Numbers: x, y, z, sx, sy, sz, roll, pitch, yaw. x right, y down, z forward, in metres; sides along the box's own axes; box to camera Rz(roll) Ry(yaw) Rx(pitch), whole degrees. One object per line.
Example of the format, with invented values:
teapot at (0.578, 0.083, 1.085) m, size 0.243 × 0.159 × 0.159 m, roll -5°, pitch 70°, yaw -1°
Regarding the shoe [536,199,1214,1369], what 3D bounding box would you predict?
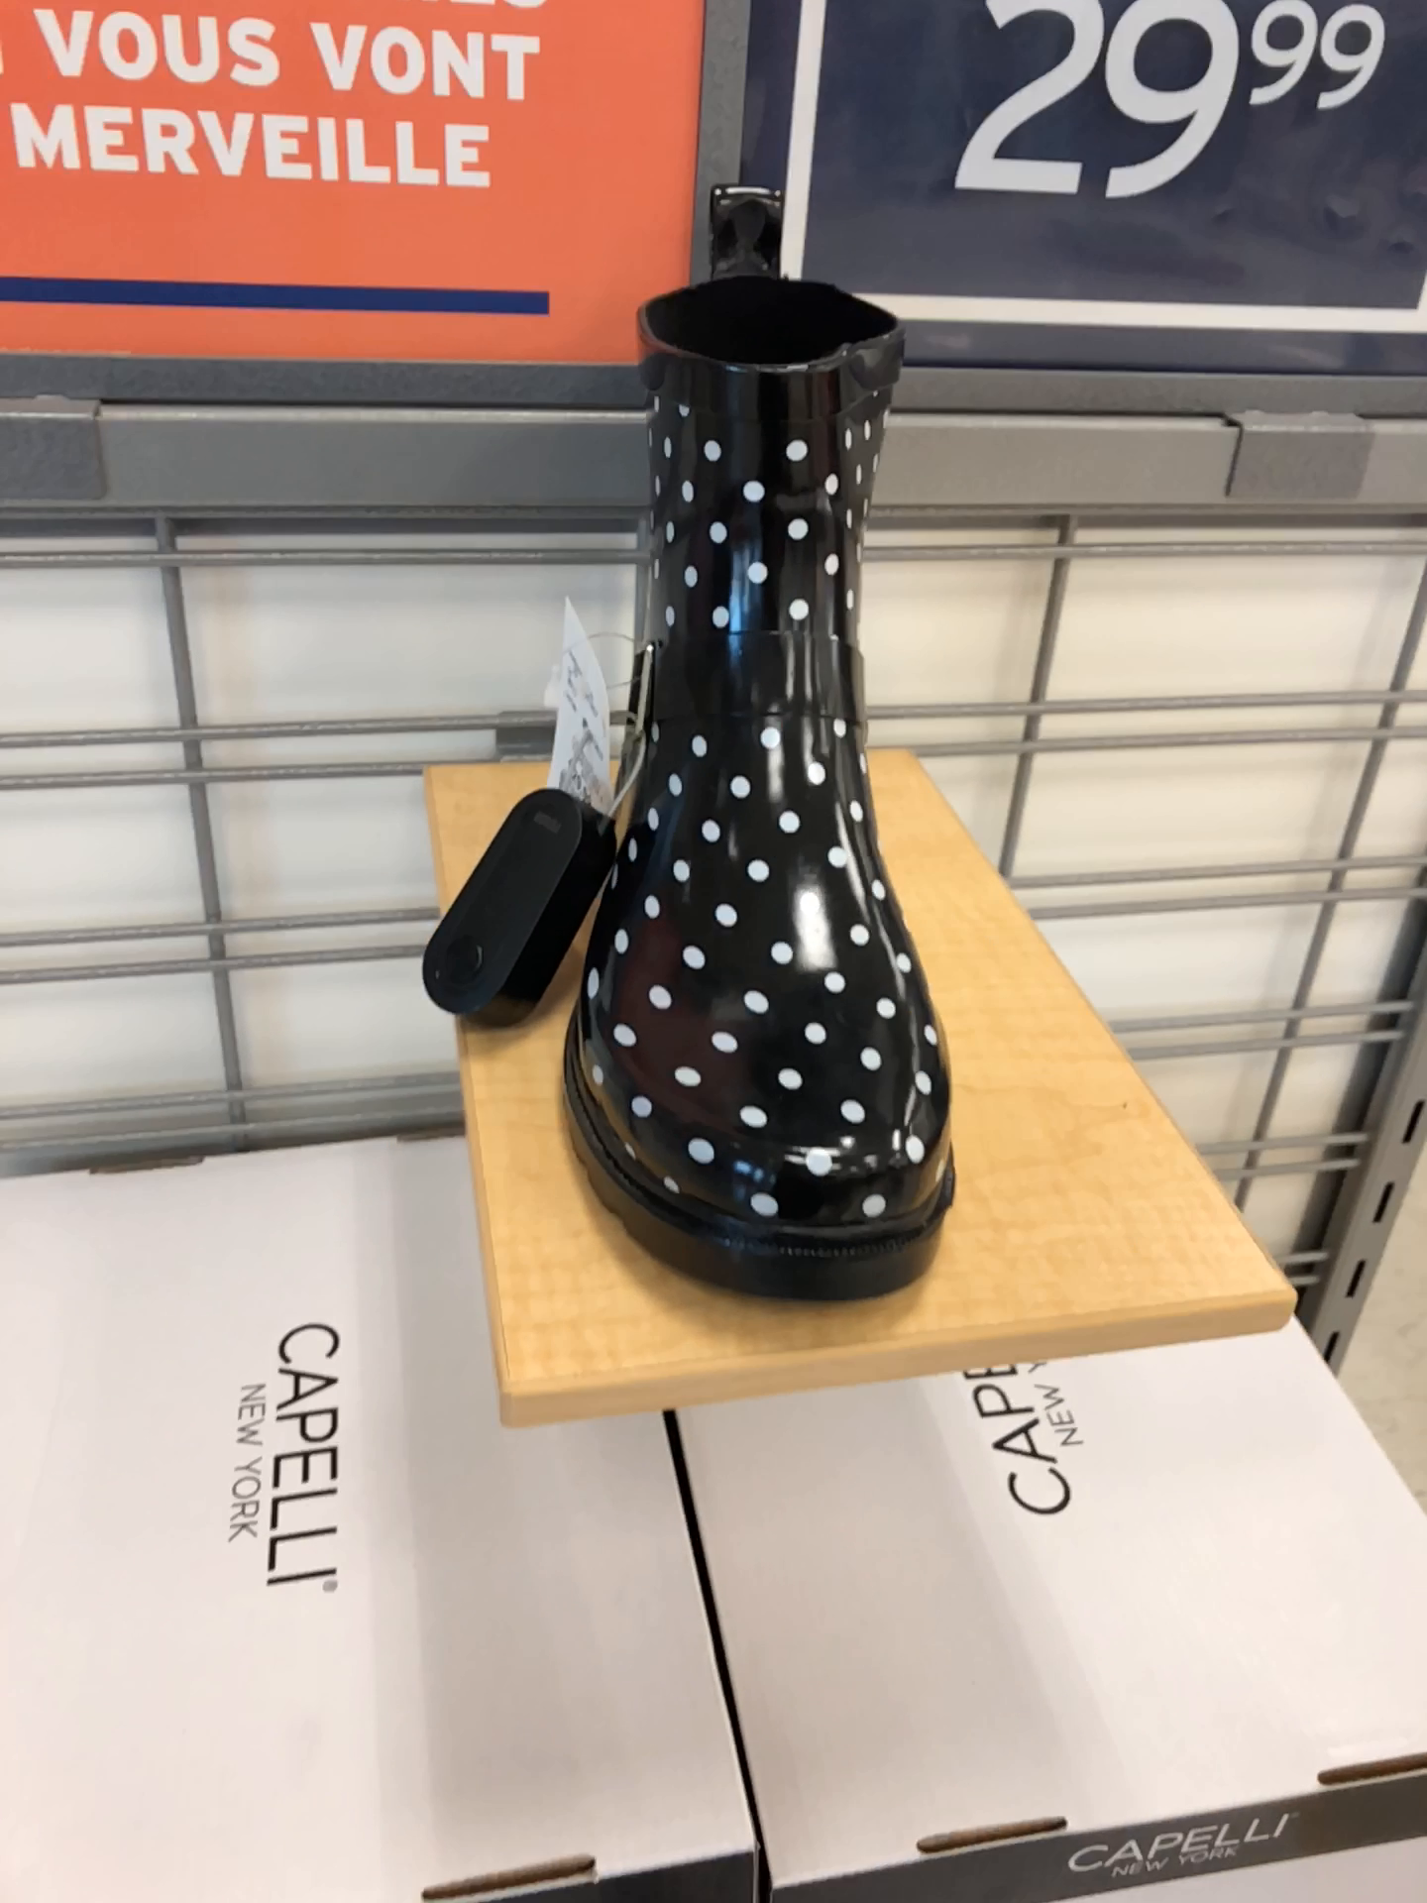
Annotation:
shoe at (0.008, -0.064, 0.397) m, size 0.095 × 0.188 × 0.262 m, roll -1°, pitch 33°, yaw -8°
